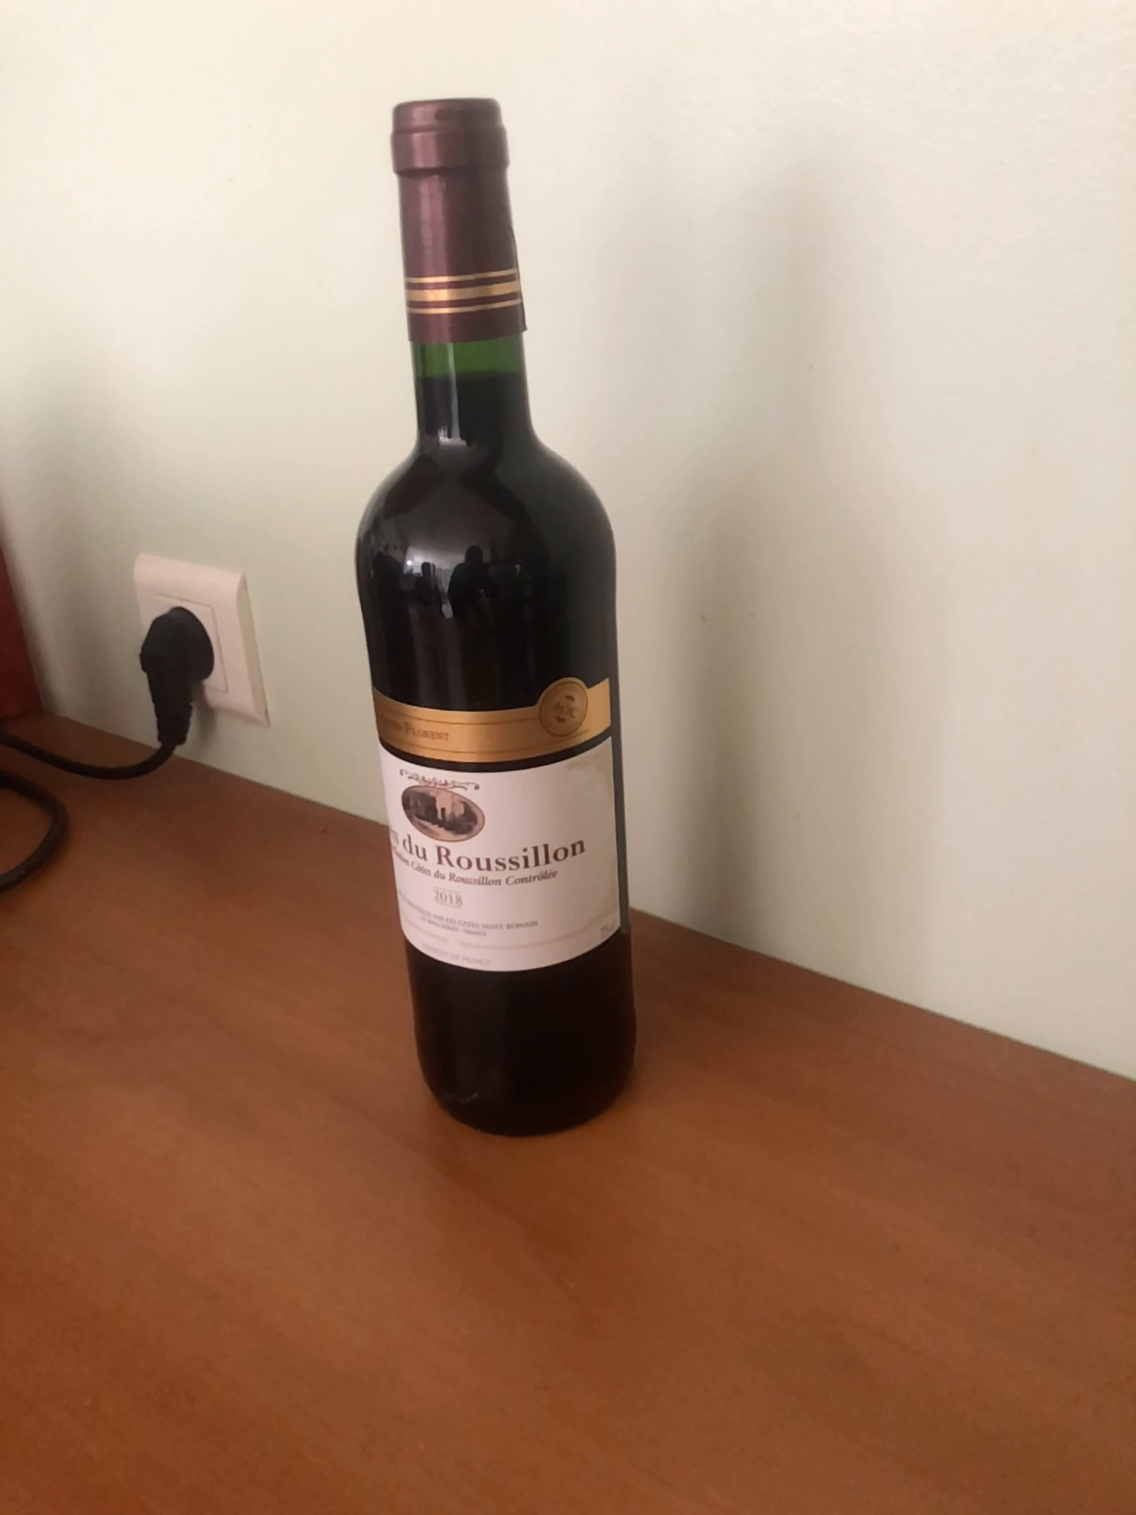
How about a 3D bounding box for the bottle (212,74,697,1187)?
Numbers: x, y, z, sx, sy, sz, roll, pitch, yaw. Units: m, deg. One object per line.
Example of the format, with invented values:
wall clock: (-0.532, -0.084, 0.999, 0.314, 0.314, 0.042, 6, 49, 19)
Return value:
bottle: (-0.019, -0.028, 0.358, 0.080, 0.288, 0.080, -3, 25, 1)
